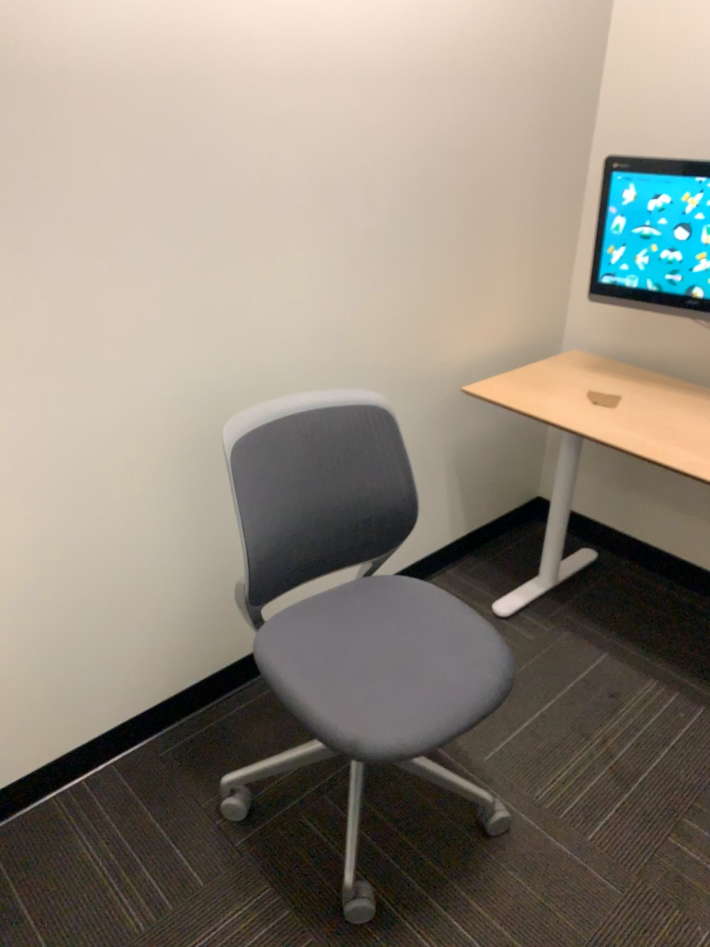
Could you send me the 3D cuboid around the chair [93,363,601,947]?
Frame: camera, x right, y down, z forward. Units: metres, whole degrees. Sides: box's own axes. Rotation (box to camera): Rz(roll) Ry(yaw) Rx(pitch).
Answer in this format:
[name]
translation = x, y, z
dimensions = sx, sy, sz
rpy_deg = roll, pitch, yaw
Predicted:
[chair]
translation = -0.082, 0.344, 1.769
dimensions = 0.721, 0.885, 0.904
rpy_deg = -16, 31, -30
